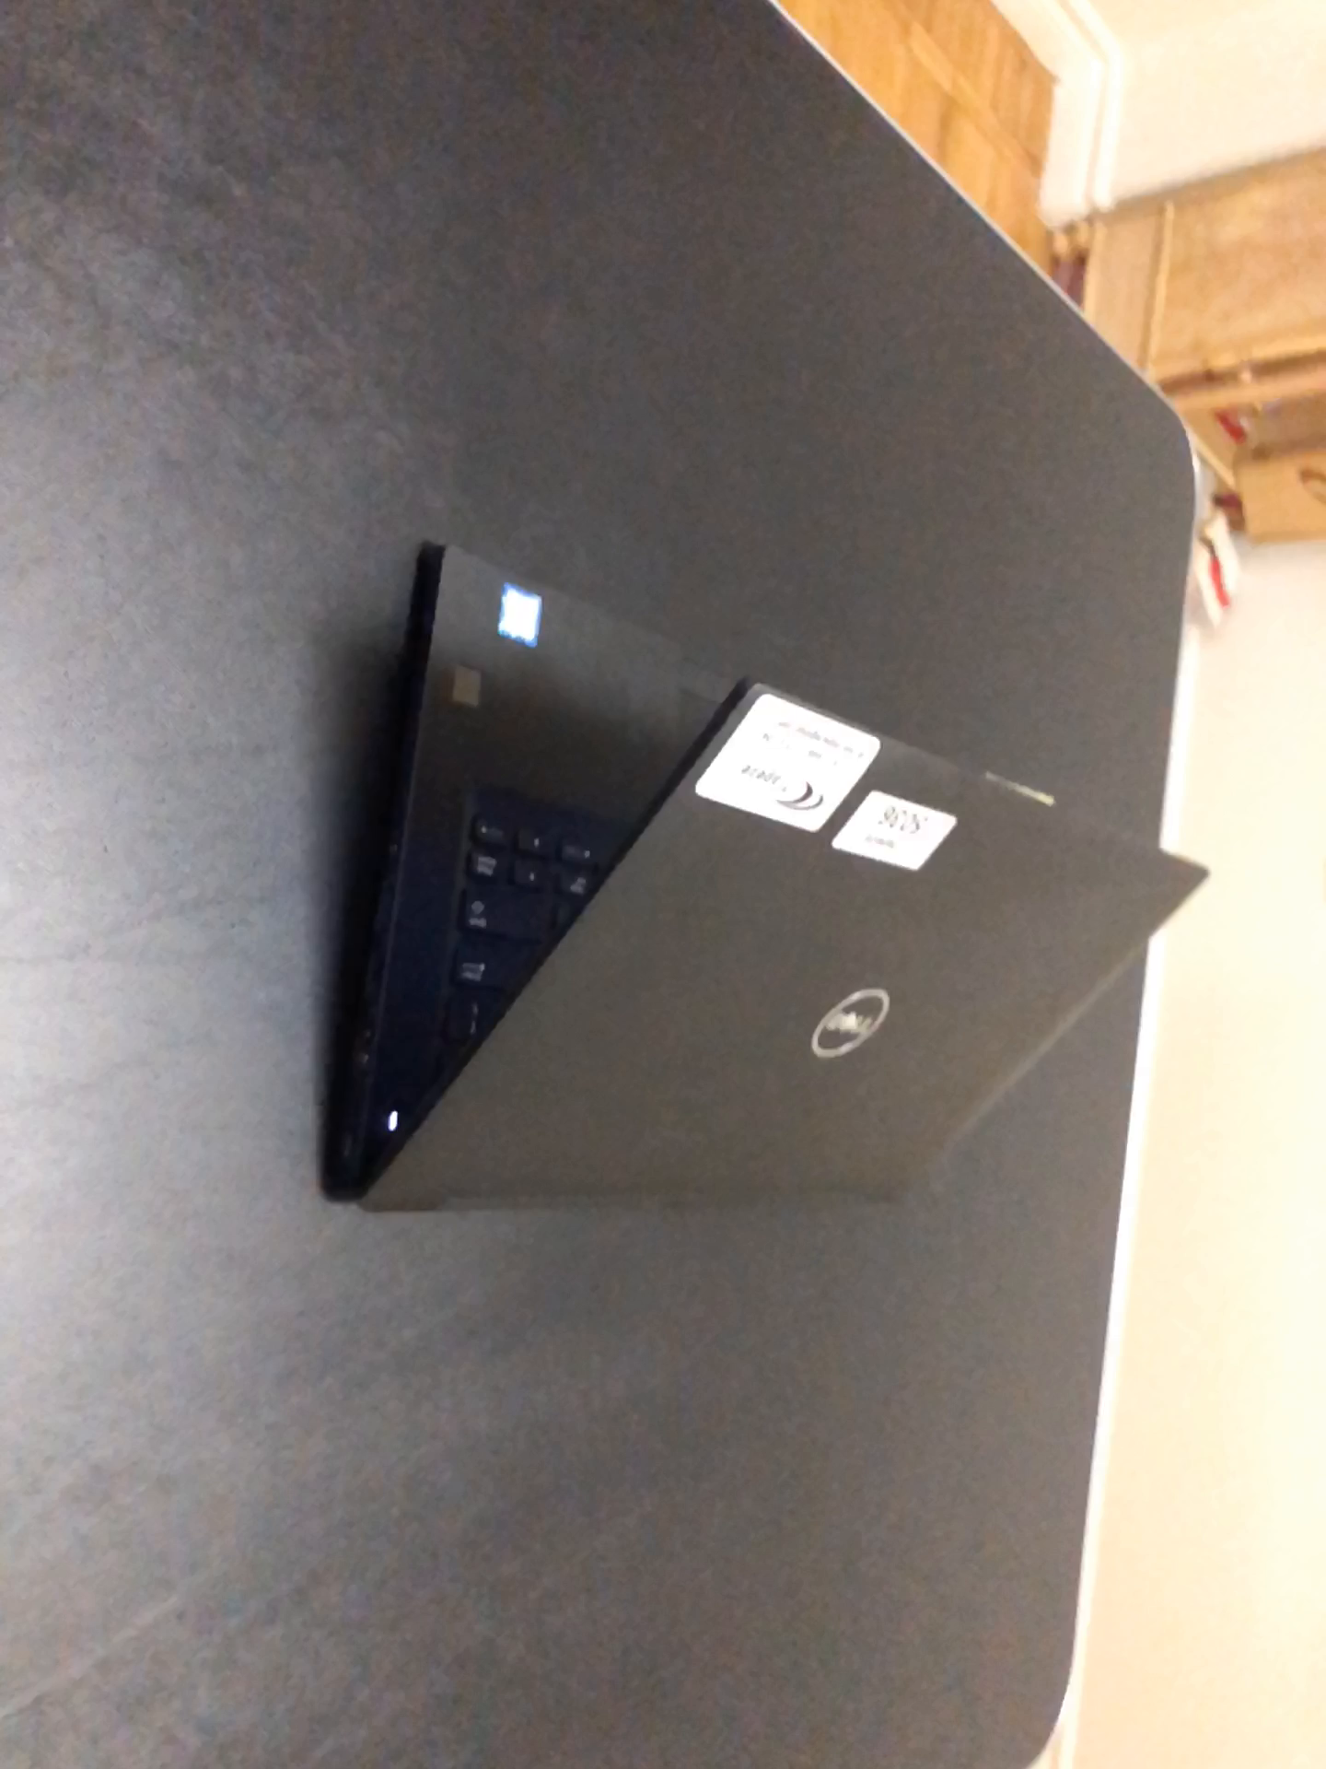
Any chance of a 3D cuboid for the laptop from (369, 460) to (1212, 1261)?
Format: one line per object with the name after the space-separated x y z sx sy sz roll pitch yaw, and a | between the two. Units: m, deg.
0.072 0.015 0.565 0.320 0.142 0.220 14 82 -49 | laptop
